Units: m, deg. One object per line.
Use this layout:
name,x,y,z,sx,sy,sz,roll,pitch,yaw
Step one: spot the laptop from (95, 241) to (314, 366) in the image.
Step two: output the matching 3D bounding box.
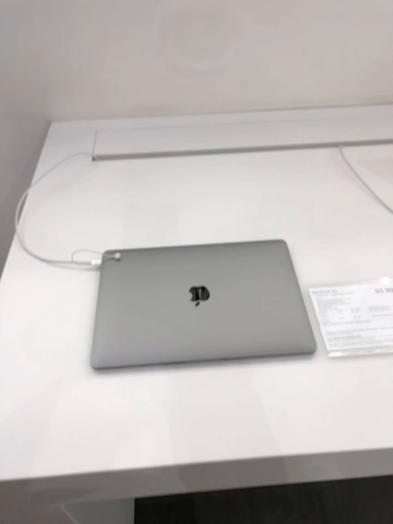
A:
laptop,0.004,0.052,0.637,0.292,0.006,0.205,-3,48,-2
